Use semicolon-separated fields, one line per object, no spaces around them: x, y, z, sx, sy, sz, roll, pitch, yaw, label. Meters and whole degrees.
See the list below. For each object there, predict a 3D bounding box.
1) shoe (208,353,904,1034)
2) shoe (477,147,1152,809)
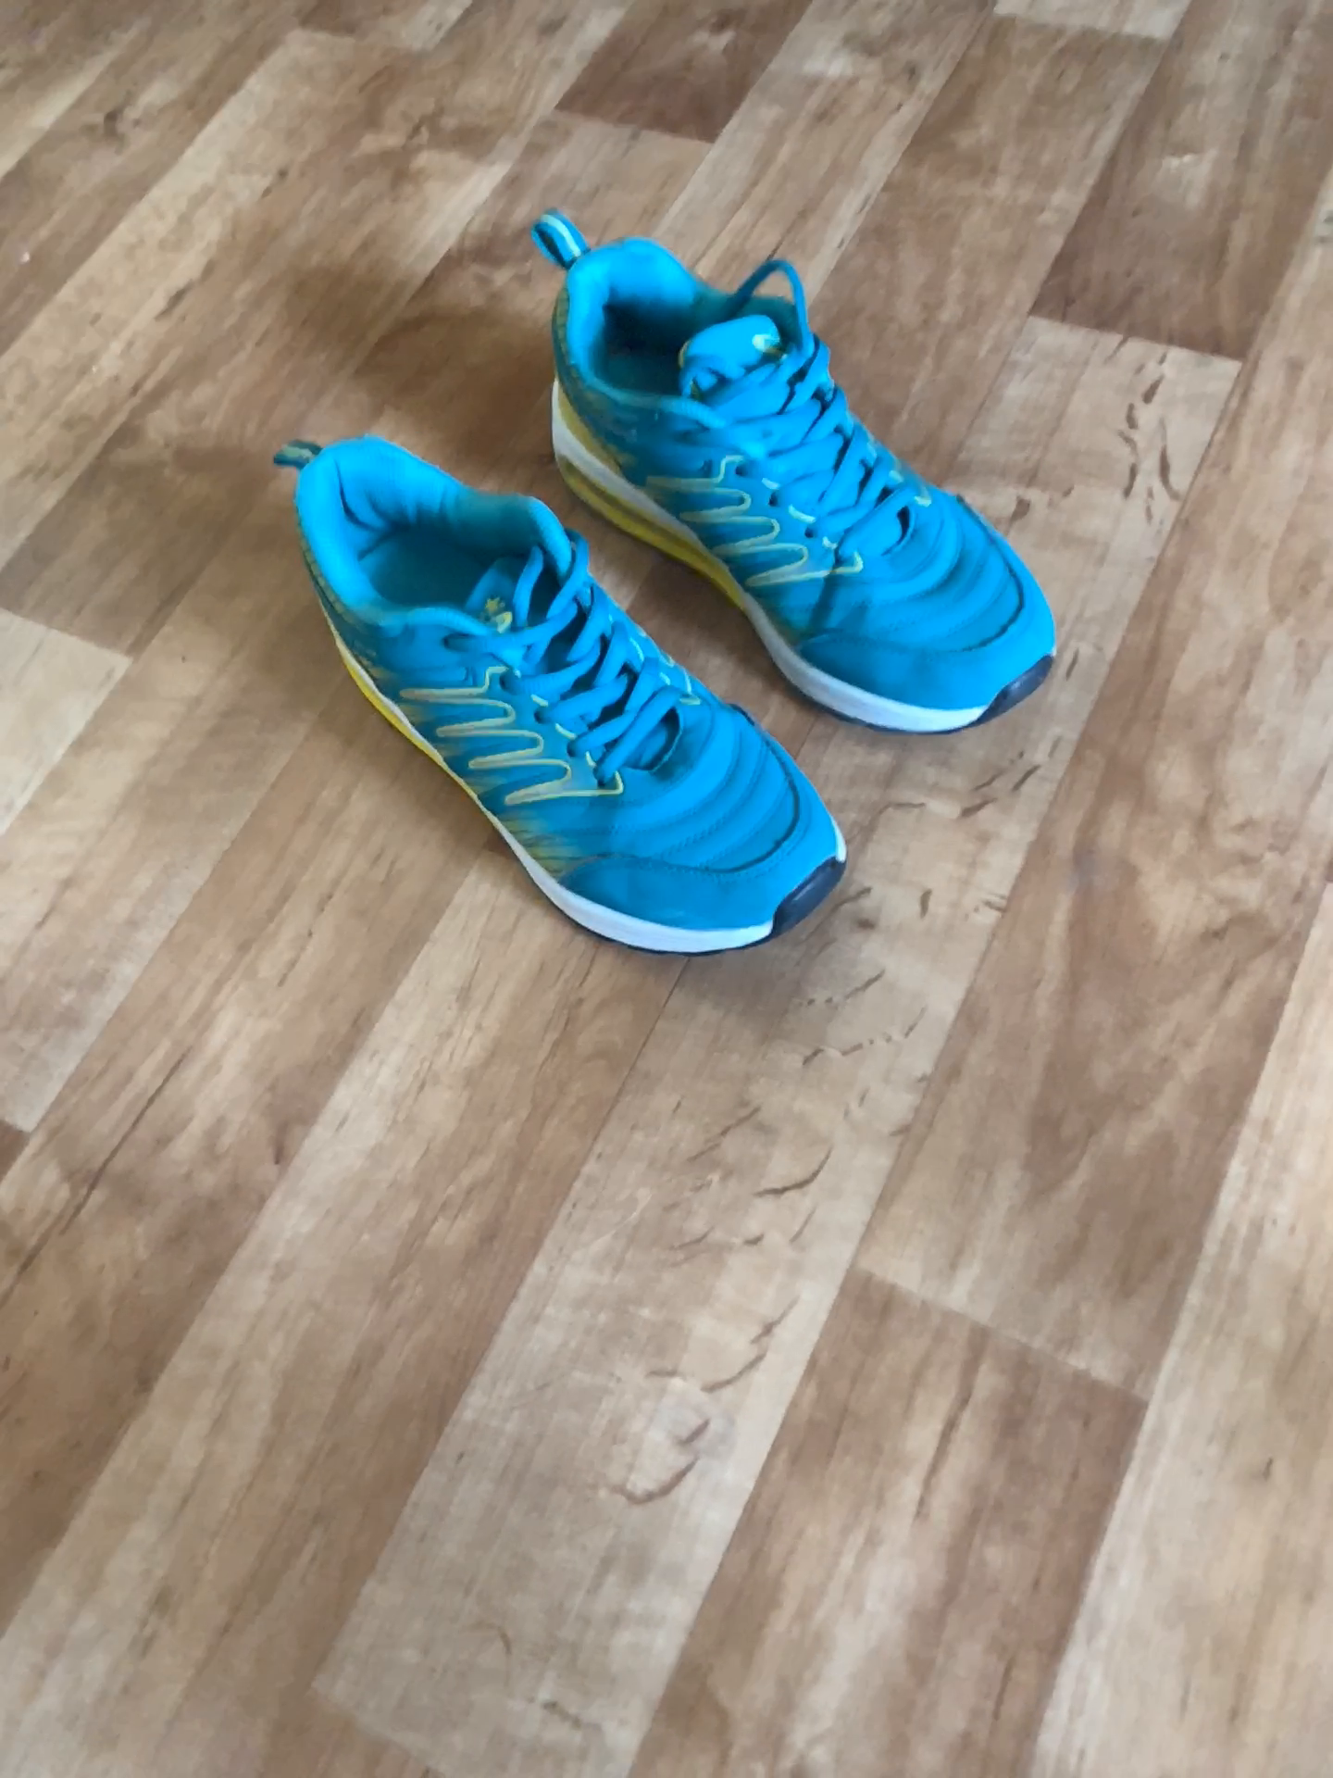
-0.039;-0.075;0.499;0.230;0.120;0.100;38;70;23;shoe
0.050;-0.166;0.536;0.100;0.120;0.240;-40;65;-14;shoe
